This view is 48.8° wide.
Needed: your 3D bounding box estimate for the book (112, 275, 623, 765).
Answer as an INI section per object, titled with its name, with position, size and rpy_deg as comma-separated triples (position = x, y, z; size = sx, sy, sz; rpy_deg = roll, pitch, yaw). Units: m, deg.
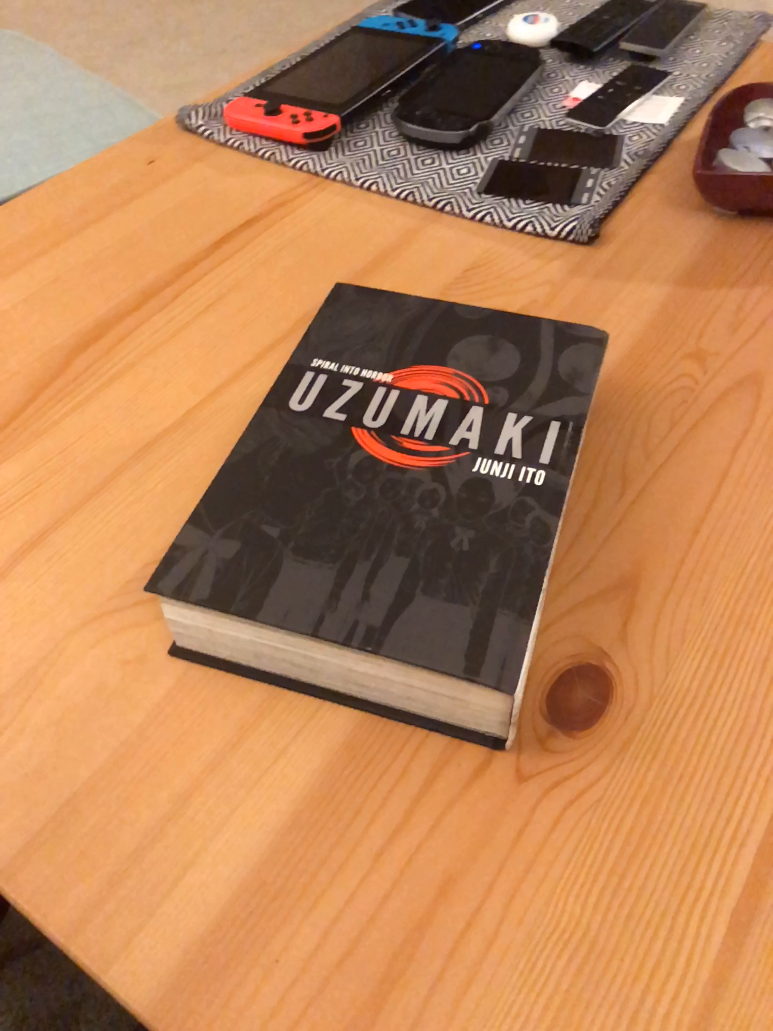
[book]
position = 0.006, -0.016, 0.378
size = 0.156, 0.048, 0.205
rpy_deg = 14, 52, 13
